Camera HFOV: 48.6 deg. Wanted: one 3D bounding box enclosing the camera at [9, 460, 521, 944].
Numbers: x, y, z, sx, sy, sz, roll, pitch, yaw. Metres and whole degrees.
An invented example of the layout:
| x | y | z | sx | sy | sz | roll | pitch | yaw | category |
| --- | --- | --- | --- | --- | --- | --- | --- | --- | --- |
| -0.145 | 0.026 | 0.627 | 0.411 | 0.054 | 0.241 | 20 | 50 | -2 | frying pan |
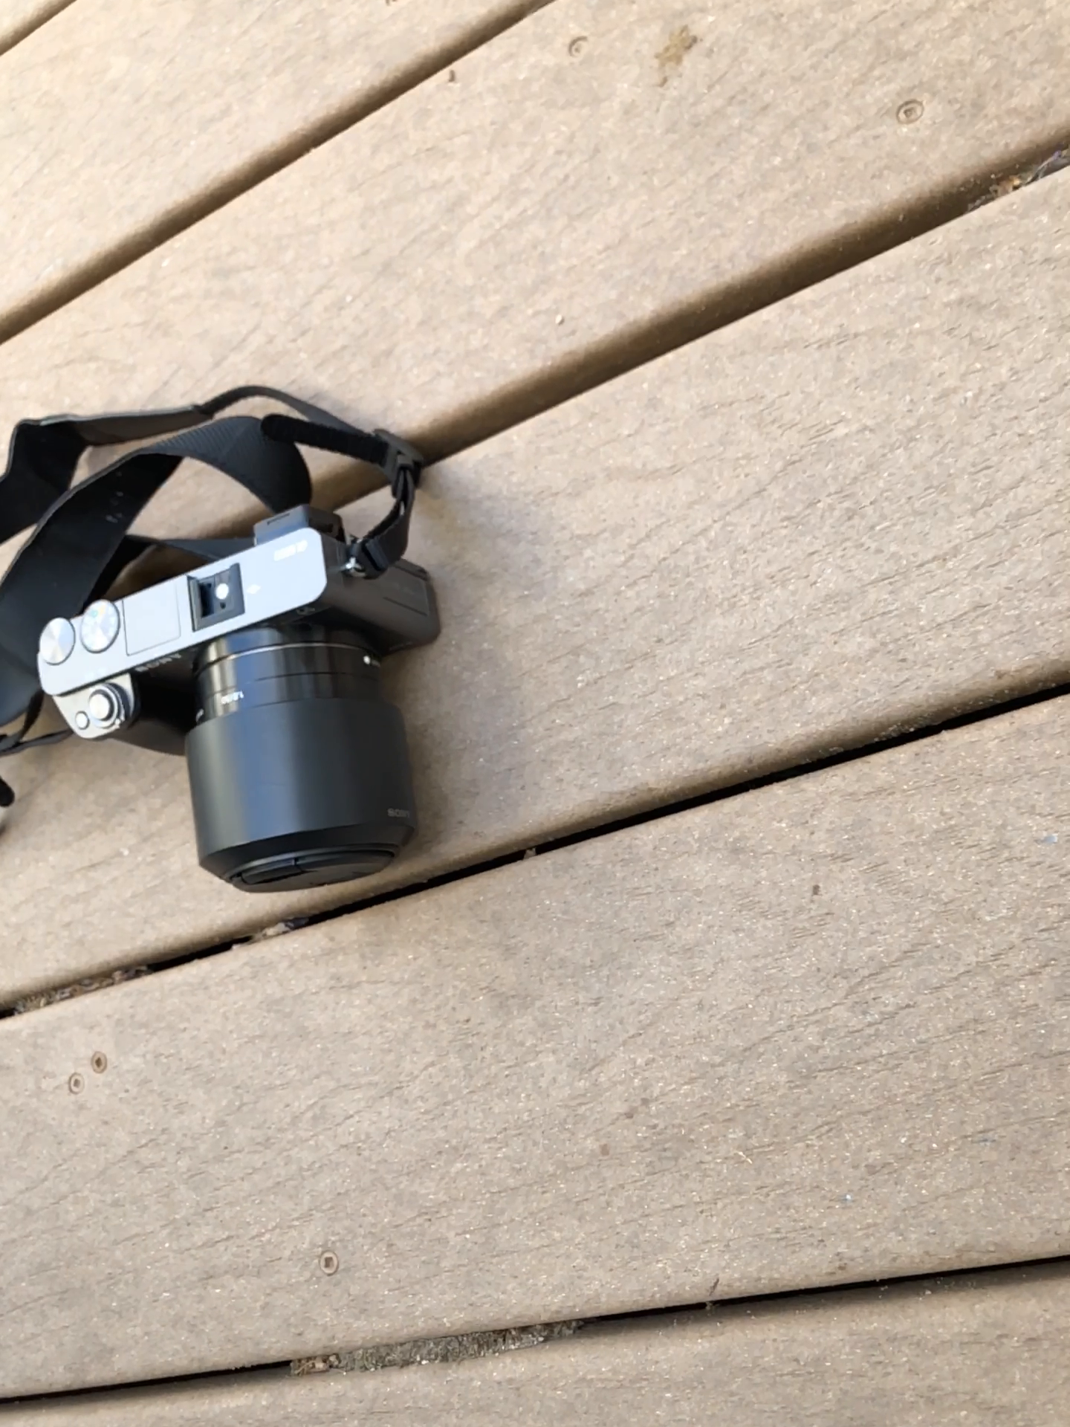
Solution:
| x | y | z | sx | sy | sz | roll | pitch | yaw | category |
| --- | --- | --- | --- | --- | --- | --- | --- | --- | --- |
| -0.086 | 0.004 | 0.372 | 0.130 | 0.070 | 0.110 | -17 | 74 | 23 | camera |
